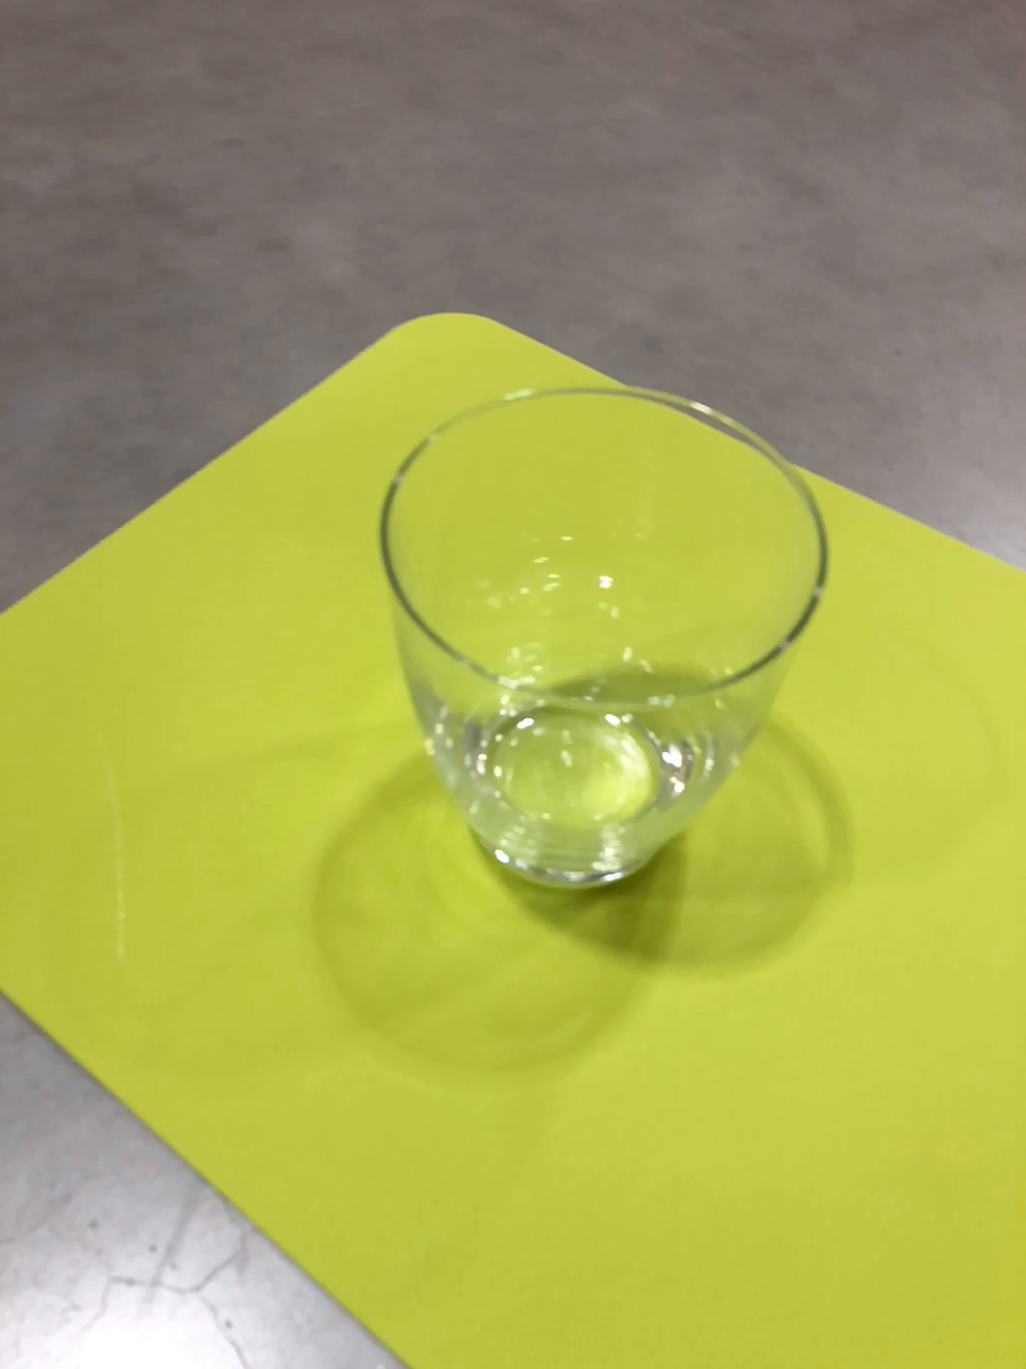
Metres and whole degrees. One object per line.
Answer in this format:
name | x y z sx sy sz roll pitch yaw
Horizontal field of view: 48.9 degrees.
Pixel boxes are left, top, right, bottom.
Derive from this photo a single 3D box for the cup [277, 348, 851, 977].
cup | 0.017 -0.006 0.282 0.110 0.090 0.110 1 52 -1
